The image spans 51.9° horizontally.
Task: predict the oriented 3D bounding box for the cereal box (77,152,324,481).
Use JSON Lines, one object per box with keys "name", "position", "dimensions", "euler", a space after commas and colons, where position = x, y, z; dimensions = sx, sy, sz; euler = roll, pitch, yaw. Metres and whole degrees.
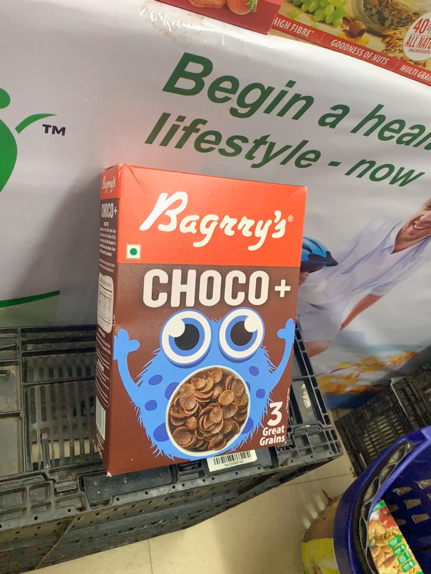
{"name": "cereal box", "position": [-0.016, 0.021, 0.395], "dimensions": [0.190, 0.080, 0.240], "euler": [0, 97, -26]}
